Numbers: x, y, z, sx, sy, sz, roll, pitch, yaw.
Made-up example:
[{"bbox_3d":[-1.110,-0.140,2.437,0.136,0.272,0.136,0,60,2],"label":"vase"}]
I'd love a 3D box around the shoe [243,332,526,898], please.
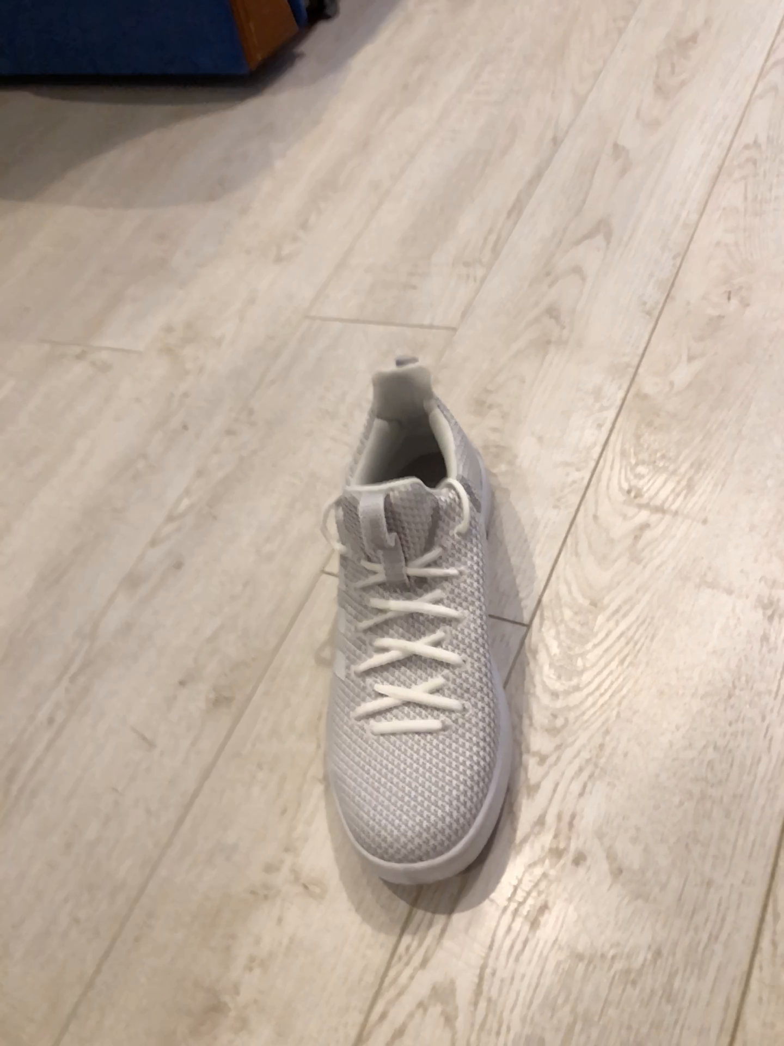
[{"bbox_3d":[0.010,0.041,0.484,0.100,0.109,0.291,-9,51,17],"label":"shoe"}]
